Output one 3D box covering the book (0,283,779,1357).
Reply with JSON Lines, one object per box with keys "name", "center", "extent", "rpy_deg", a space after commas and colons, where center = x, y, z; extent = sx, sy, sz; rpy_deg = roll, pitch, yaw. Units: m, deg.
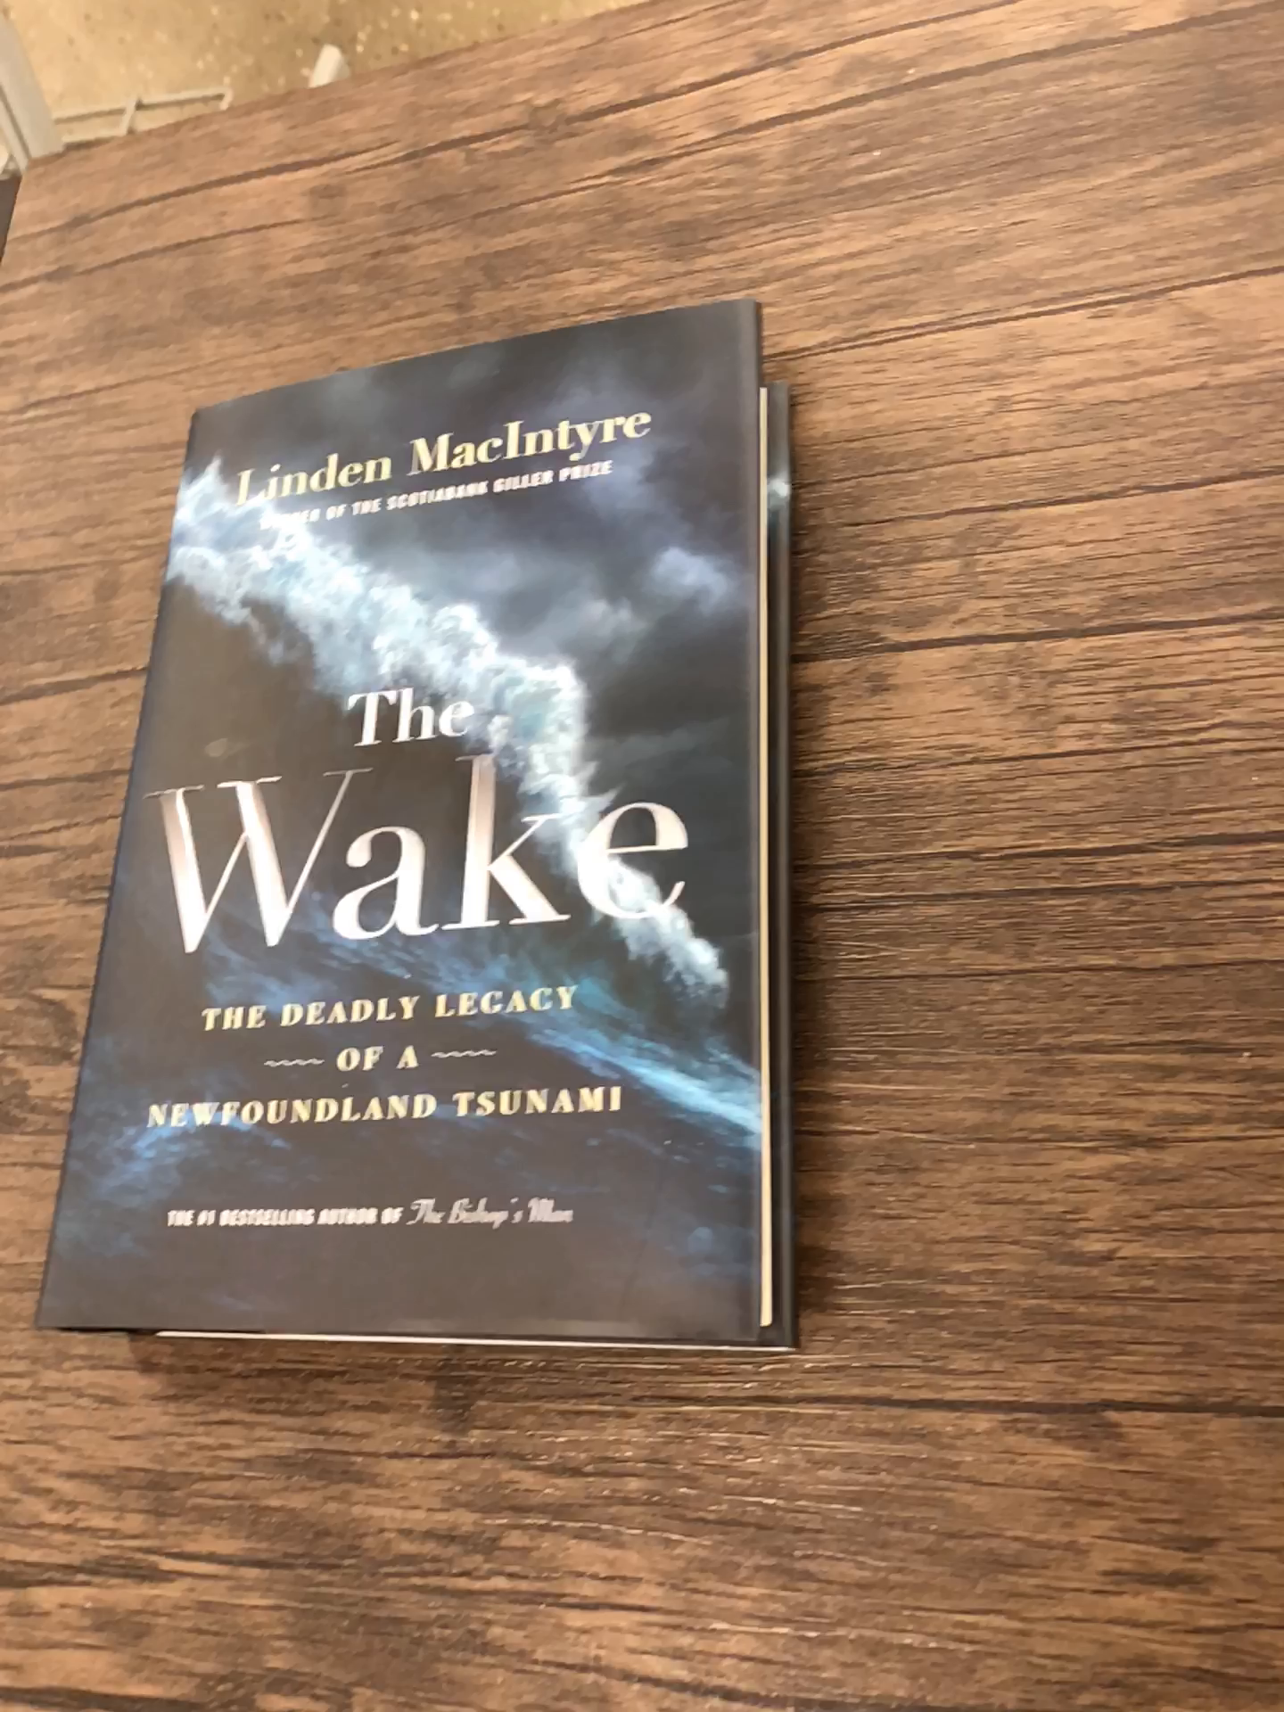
{"name": "book", "center": [-0.053, -0.009, 0.331], "extent": [0.160, 0.050, 0.230], "rpy_deg": [-4, 68, 17]}
